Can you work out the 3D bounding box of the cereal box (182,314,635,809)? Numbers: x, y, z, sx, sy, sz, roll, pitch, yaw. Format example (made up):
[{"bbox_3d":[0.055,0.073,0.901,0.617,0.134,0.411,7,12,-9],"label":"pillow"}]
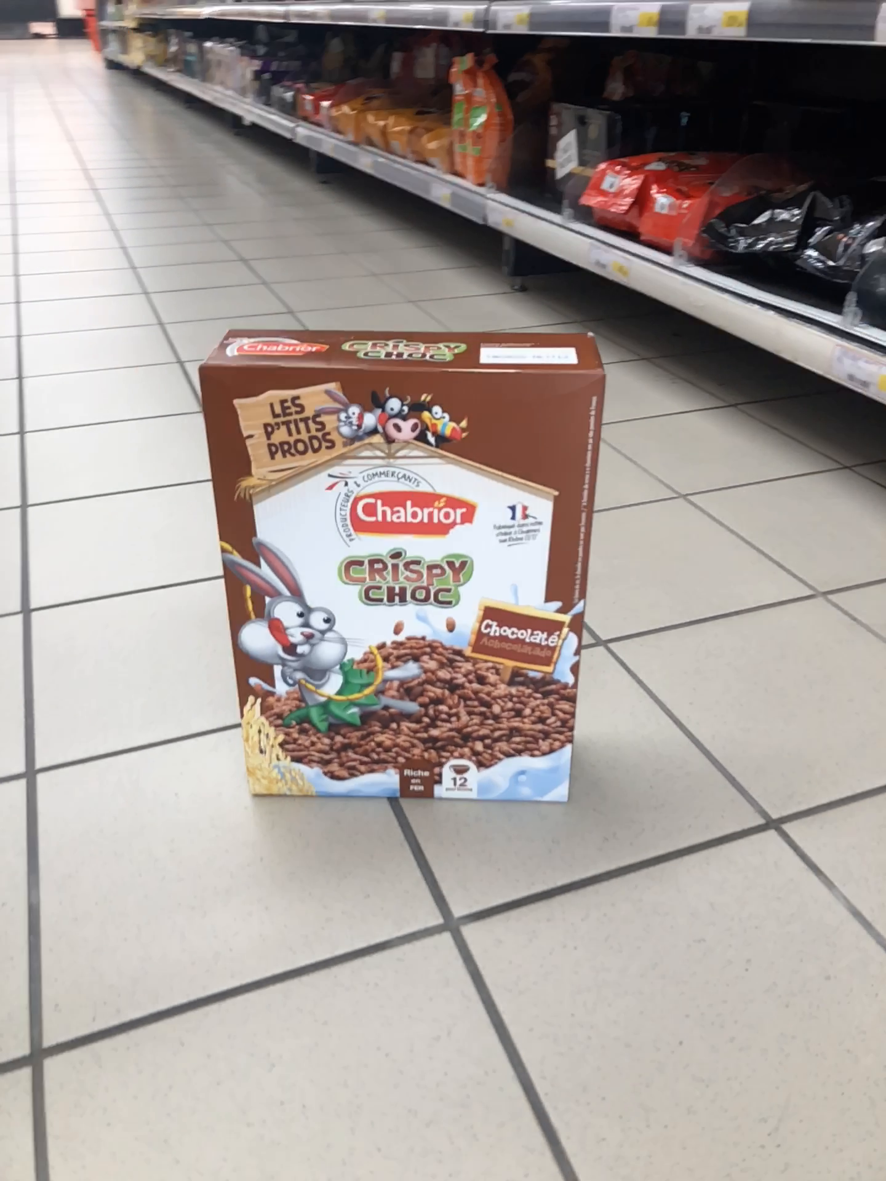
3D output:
[{"bbox_3d":[-0.016,-0.009,0.543,0.210,0.268,0.070,2,29,3],"label":"cereal box"}]
